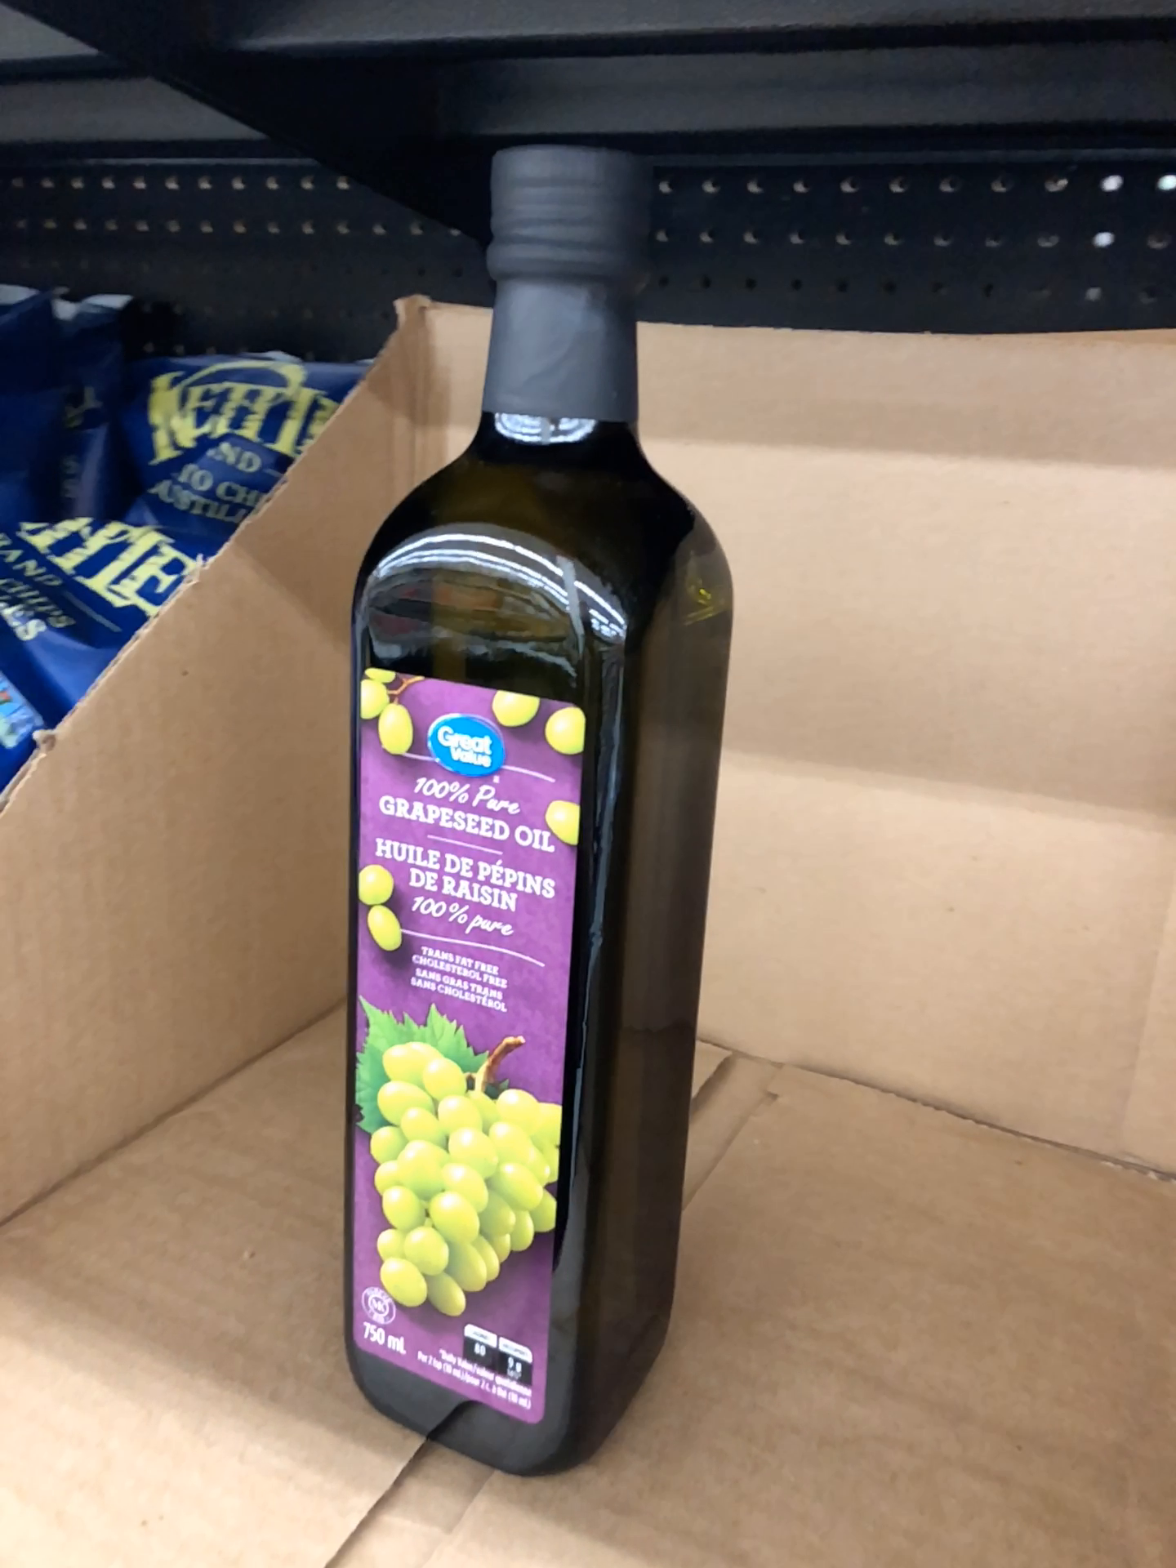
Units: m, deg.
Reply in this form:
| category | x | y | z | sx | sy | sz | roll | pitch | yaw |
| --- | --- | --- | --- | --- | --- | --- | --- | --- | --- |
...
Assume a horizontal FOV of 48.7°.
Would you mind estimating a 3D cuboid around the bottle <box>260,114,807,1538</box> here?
| category | x | y | z | sx | sy | sz | roll | pitch | yaw |
| --- | --- | --- | --- | --- | --- | --- | --- | --- | --- |
| bottle | -0.013 | 0.016 | 0.280 | 0.080 | 0.278 | 0.060 | 11 | 21 | 25 |
